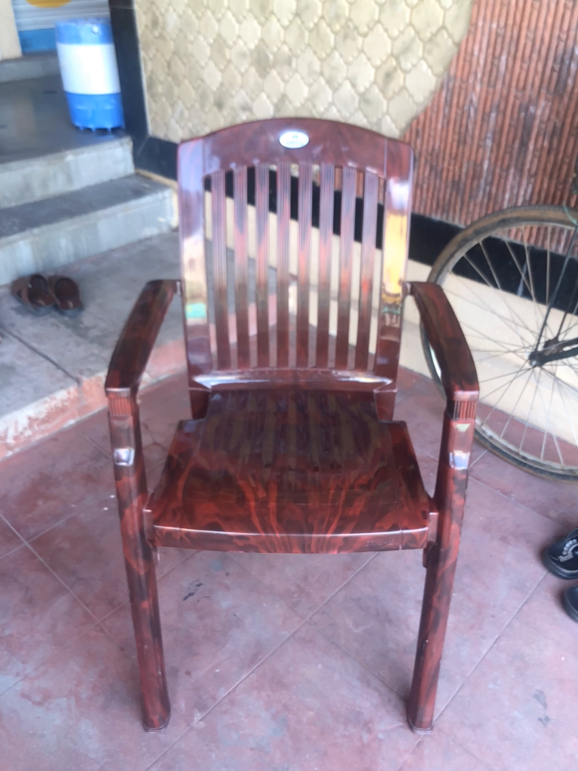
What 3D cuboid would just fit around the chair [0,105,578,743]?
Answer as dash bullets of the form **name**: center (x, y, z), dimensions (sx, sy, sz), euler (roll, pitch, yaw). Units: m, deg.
- **chair**: center (-0.002, 0.034, 1.121), dimensions (0.590, 0.846, 0.704), euler (1, 34, 2)
